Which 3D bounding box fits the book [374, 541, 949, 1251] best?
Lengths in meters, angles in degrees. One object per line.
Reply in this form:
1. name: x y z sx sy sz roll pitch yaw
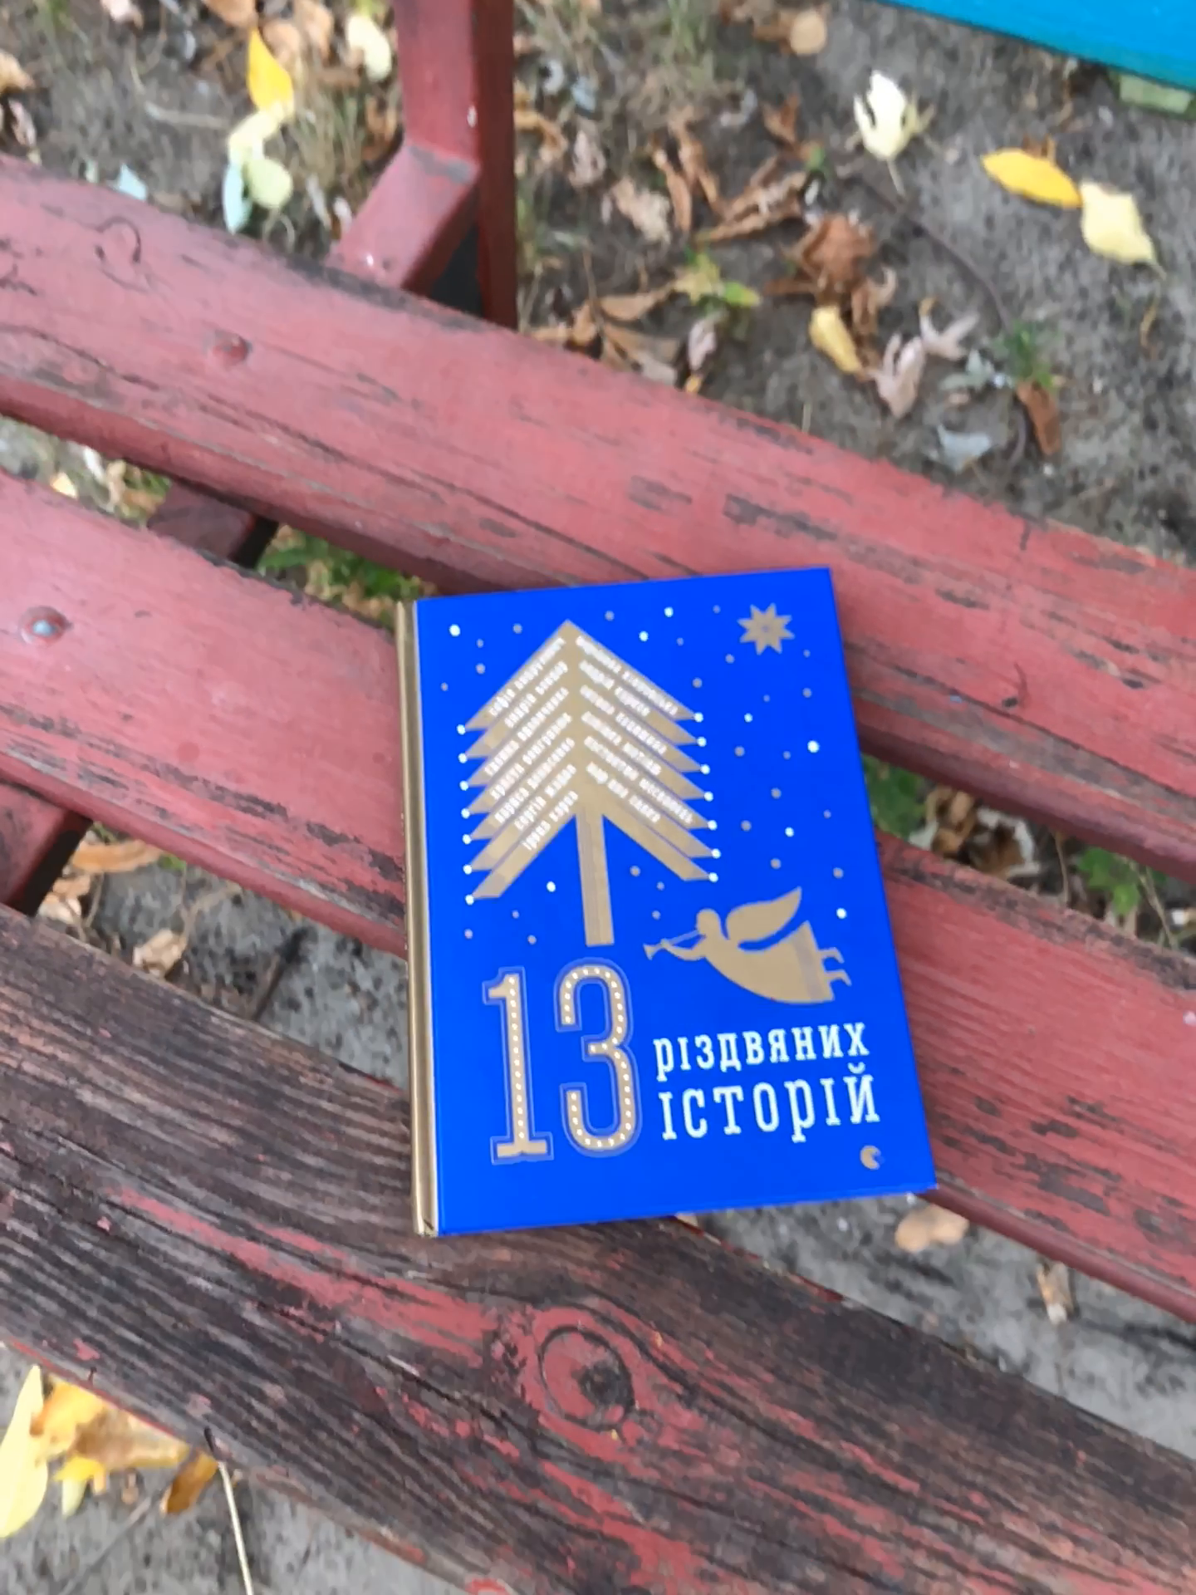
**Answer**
1. book: 0.011 0.023 0.415 0.155 0.020 0.212 -5 69 0
